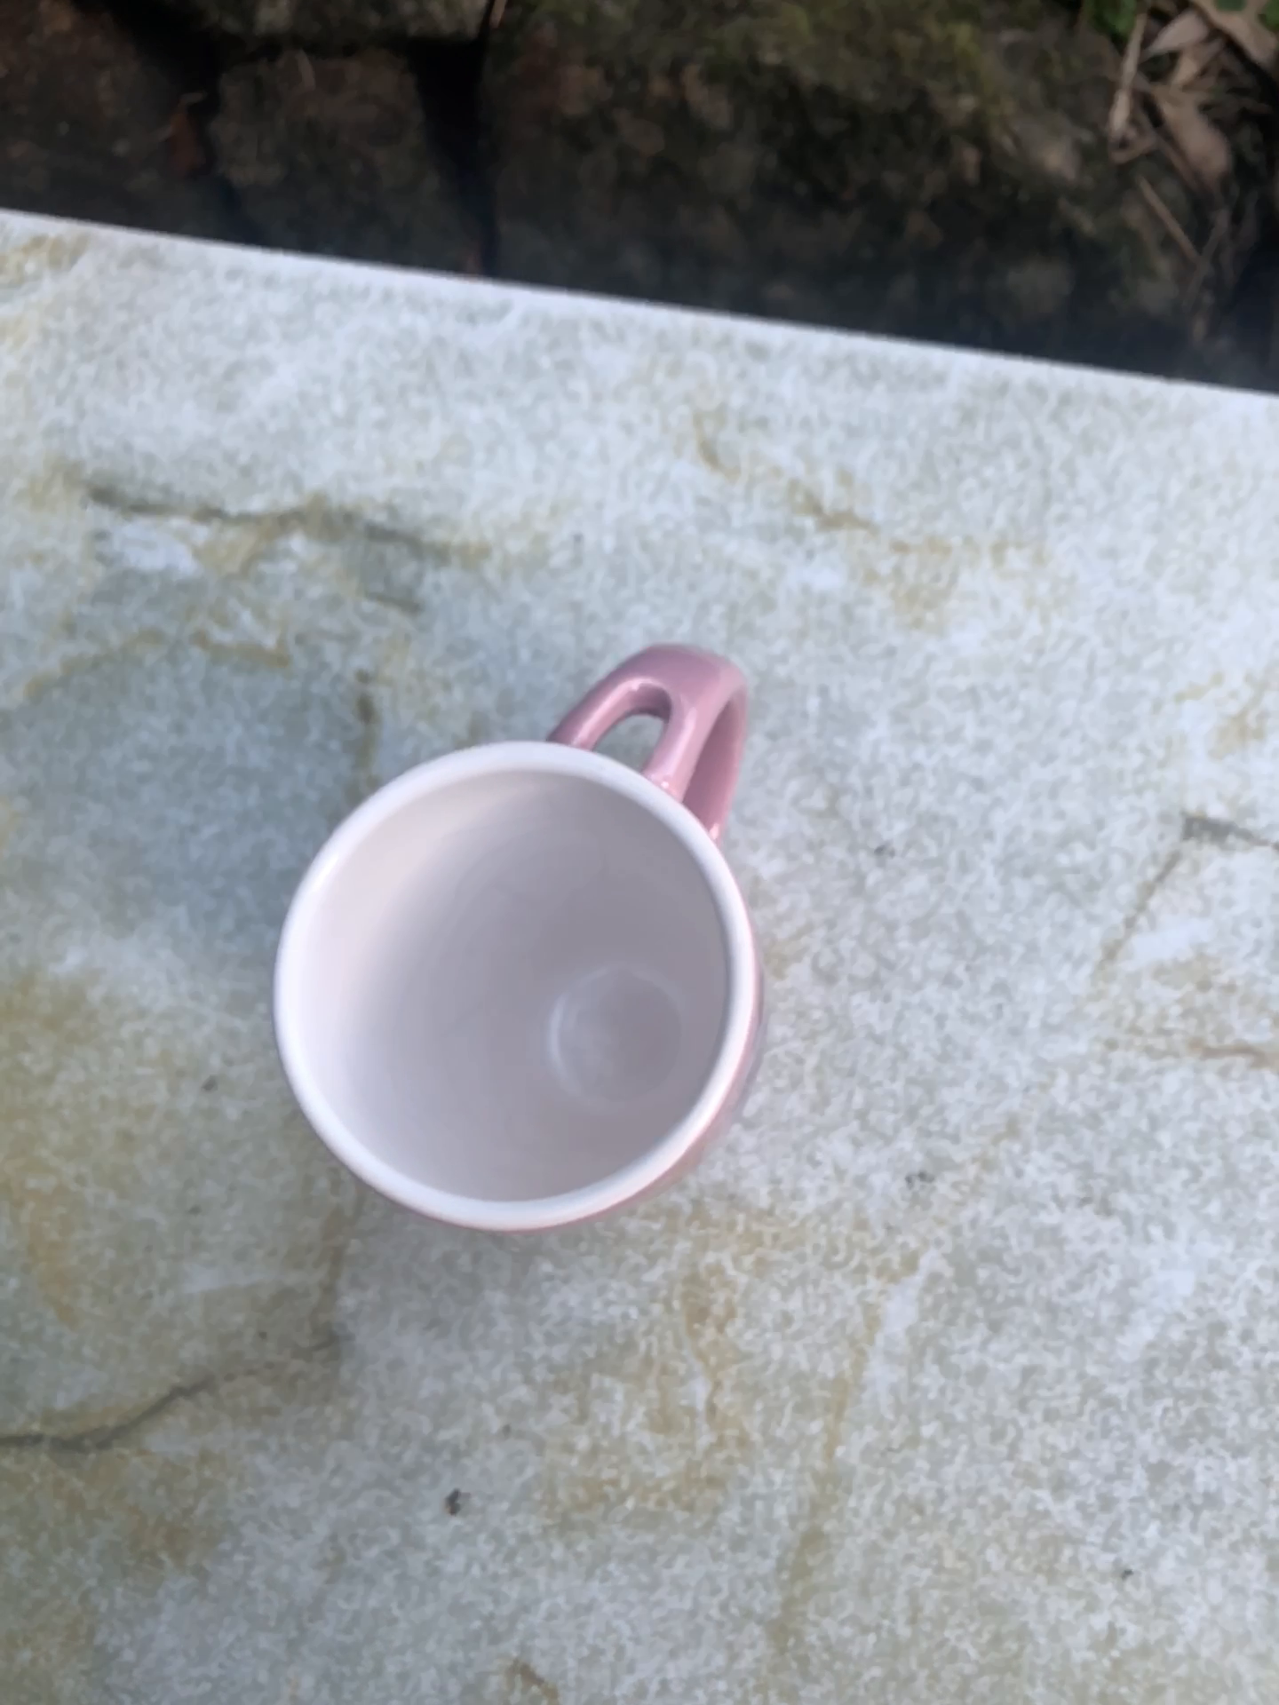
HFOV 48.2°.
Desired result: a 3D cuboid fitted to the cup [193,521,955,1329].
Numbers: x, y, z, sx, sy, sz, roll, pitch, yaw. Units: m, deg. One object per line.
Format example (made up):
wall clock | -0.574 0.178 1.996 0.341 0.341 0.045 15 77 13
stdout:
cup | -0.005 0.015 0.257 0.080 0.080 0.099 28 84 14
